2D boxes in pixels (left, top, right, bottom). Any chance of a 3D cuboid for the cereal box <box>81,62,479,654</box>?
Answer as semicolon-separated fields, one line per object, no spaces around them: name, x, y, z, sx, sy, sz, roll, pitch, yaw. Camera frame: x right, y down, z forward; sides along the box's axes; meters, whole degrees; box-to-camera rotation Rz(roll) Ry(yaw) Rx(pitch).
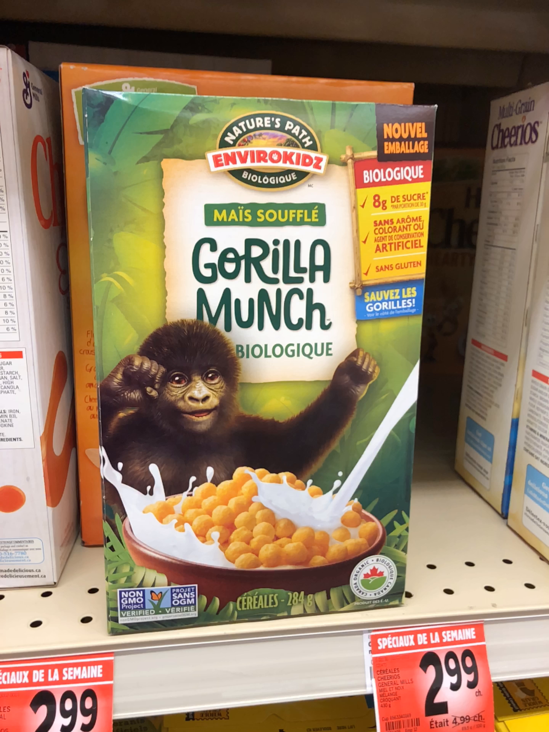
cereal box;-0.001;0.002;0.301;0.160;0.259;0.060;-2;15;-10
